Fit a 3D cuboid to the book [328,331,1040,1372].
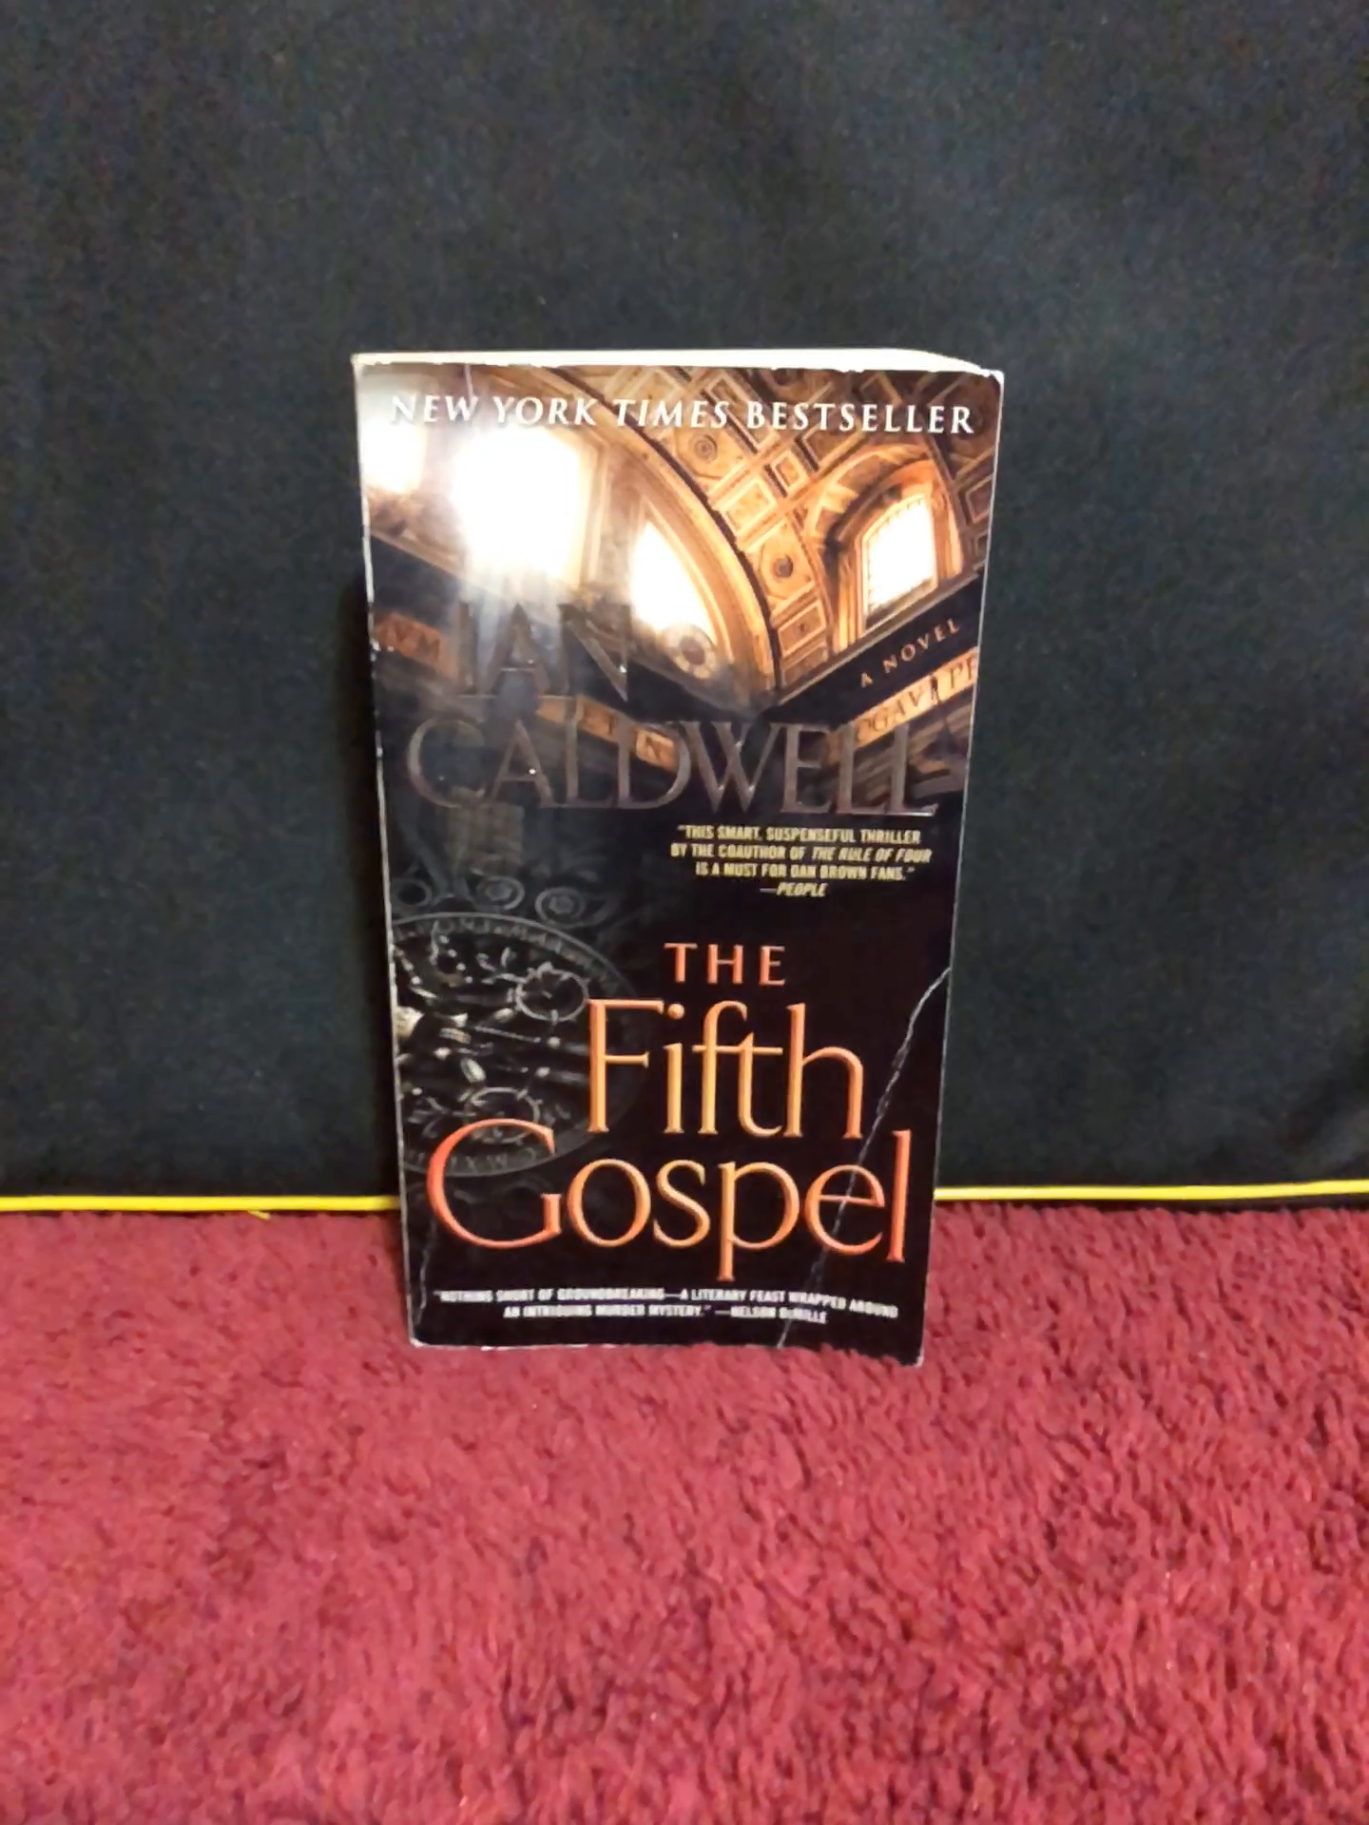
[{"bbox_3d":[0.000,-0.011,0.312,0.120,0.199,0.050,3,19,6],"label":"book"}]
